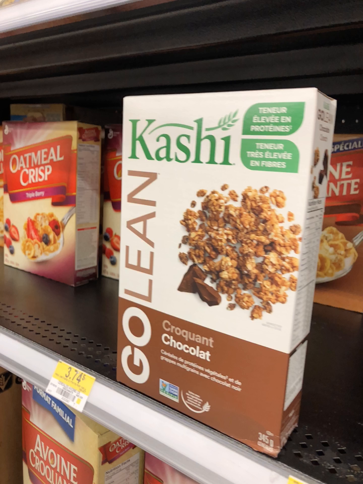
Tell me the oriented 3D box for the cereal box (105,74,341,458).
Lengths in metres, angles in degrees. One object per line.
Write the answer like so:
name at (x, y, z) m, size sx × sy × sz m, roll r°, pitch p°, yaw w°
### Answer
cereal box at (0.017, 0.009, 0.320) m, size 0.170 × 0.249 × 0.050 m, roll 11°, pitch 14°, yaw 34°
